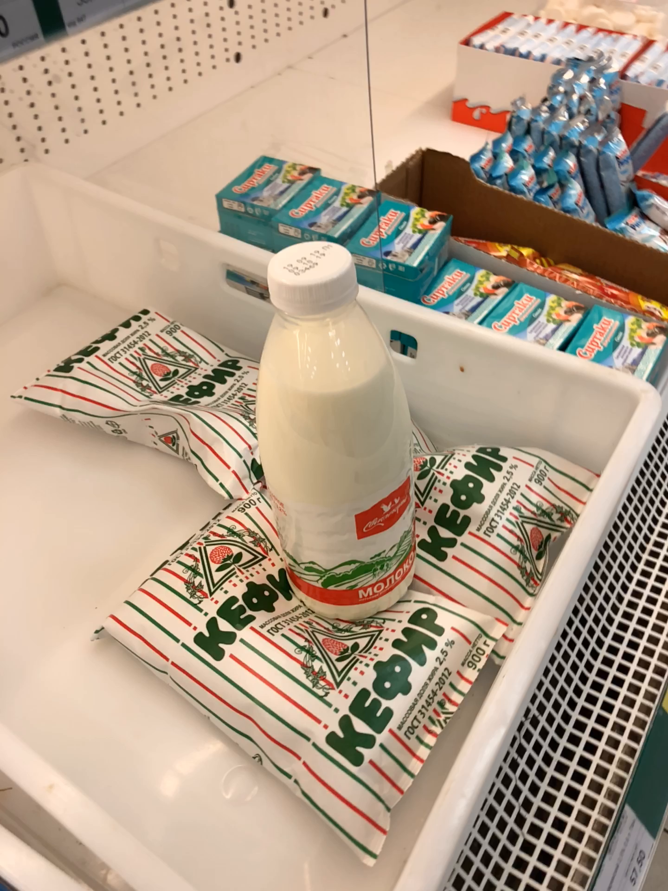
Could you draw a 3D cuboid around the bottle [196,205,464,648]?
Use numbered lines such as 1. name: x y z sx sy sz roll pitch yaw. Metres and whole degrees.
1. bottle: 0.006 -0.002 0.401 0.085 0.216 0.085 -3 43 3
